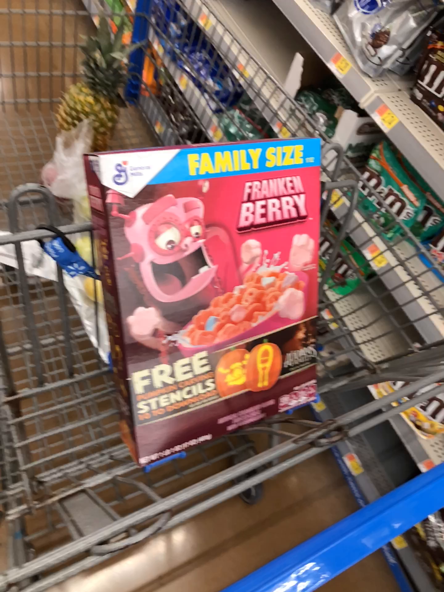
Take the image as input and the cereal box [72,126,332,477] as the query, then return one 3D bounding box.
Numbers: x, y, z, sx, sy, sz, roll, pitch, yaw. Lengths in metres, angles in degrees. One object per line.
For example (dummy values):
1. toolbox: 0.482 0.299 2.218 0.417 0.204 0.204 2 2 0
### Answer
1. cereal box: -0.004 -0.003 0.517 0.240 0.320 0.070 -13 22 -26
